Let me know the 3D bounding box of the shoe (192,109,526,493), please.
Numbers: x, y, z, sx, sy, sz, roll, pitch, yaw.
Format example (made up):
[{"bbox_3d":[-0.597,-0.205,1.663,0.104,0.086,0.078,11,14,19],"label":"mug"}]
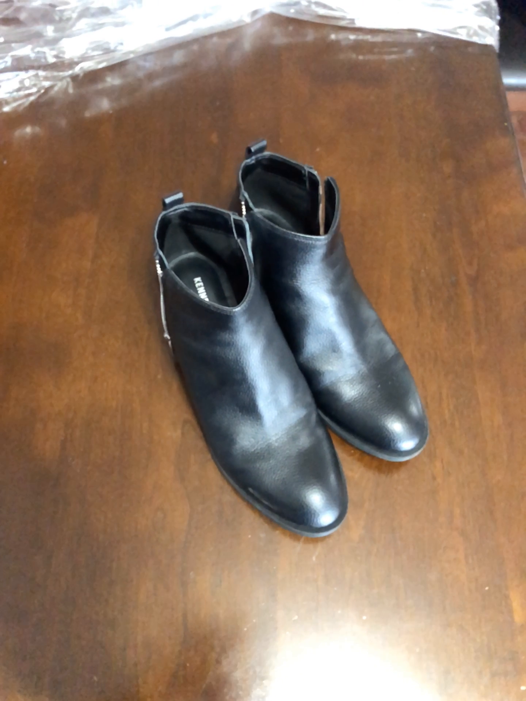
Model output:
[{"bbox_3d":[0.058,-0.039,0.463,0.100,0.130,0.260,-30,69,-15],"label":"shoe"}]

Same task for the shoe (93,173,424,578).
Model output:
[{"bbox_3d":[-0.015,0.019,0.442,0.100,0.130,0.260,-27,69,-14],"label":"shoe"}]
